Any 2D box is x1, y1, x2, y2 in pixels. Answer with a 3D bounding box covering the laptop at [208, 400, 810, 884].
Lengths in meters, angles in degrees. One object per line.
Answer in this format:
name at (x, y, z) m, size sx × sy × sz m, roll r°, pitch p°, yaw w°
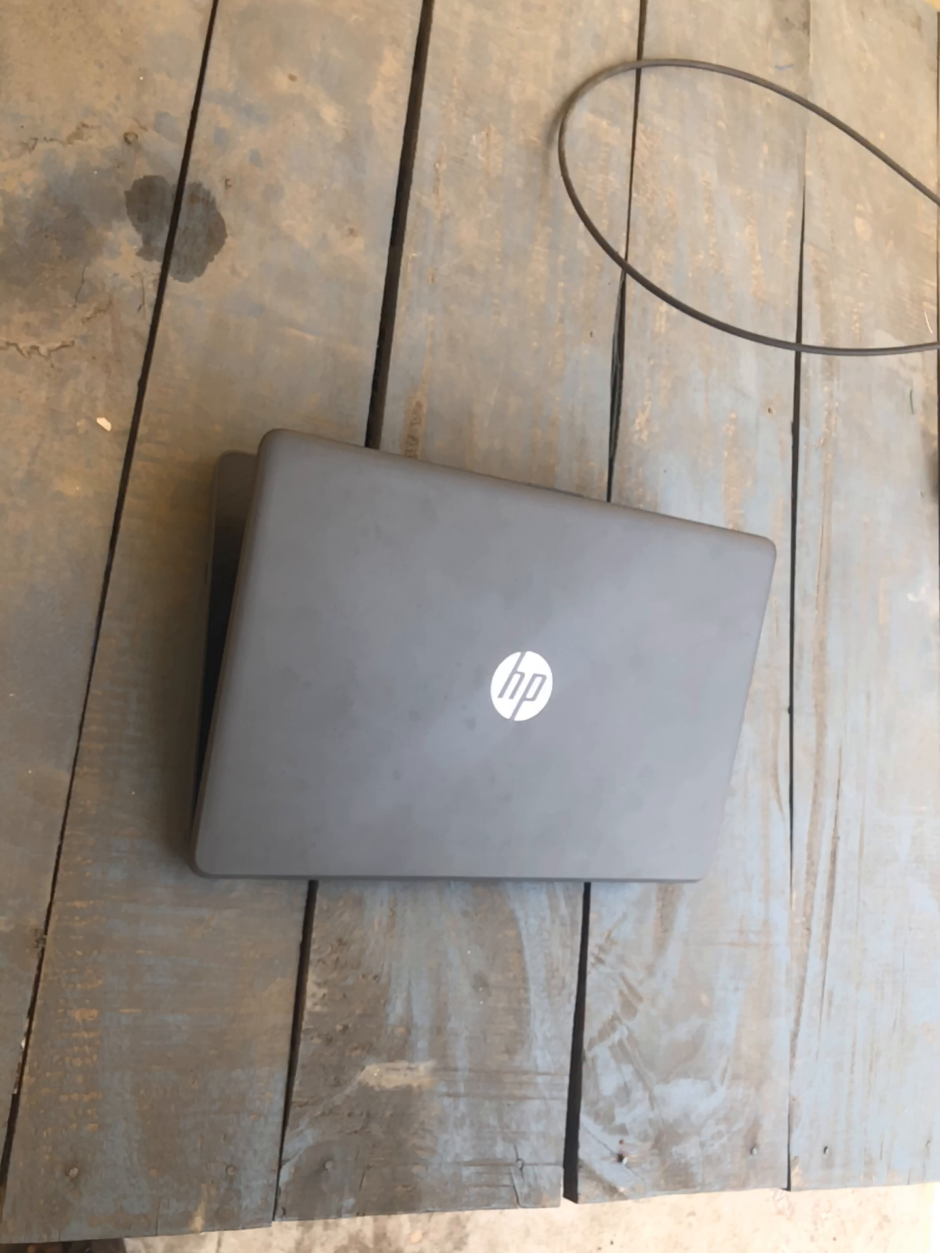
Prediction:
laptop at (0.038, 0.032, 0.645) m, size 0.361 × 0.096 × 0.243 m, roll 8°, pitch 75°, yaw -28°
